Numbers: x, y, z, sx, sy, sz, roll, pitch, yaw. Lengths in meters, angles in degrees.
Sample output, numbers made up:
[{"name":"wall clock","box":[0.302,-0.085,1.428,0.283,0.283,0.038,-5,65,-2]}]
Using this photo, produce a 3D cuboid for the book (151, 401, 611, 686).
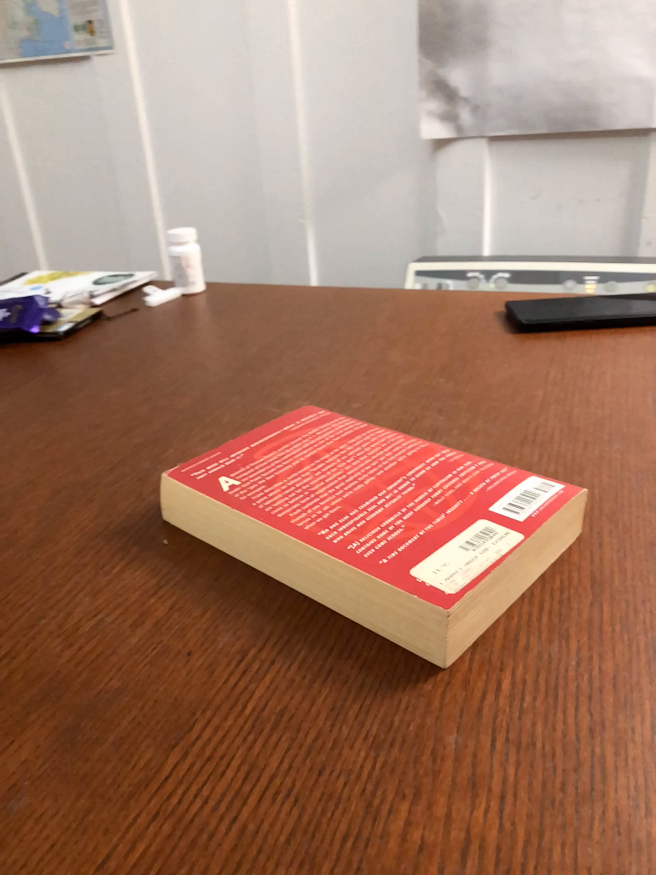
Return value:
[{"name":"book","box":[0.023,0.038,0.404,0.210,0.030,0.140,18,33,39]}]
